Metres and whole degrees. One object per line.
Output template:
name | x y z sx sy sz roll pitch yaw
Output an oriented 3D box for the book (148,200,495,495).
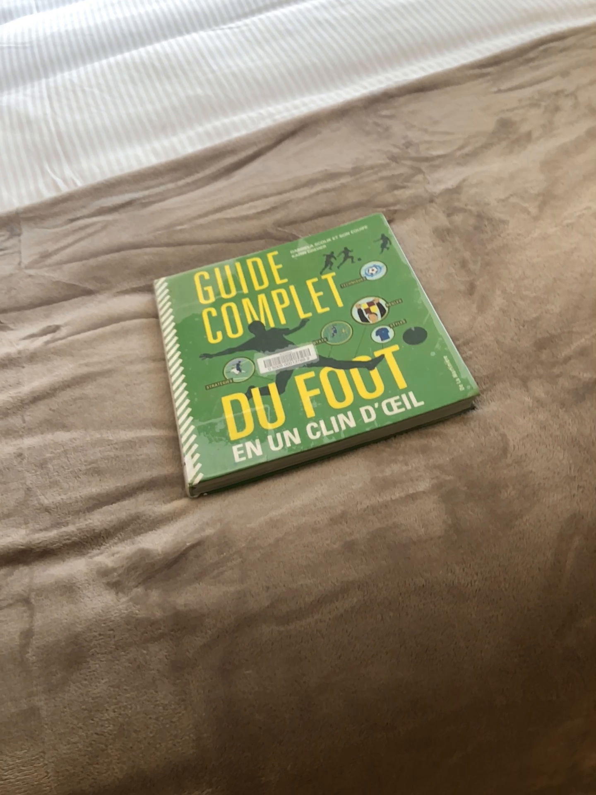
book | 0.003 -0.057 0.541 0.227 0.018 0.239 -16 52 -3
